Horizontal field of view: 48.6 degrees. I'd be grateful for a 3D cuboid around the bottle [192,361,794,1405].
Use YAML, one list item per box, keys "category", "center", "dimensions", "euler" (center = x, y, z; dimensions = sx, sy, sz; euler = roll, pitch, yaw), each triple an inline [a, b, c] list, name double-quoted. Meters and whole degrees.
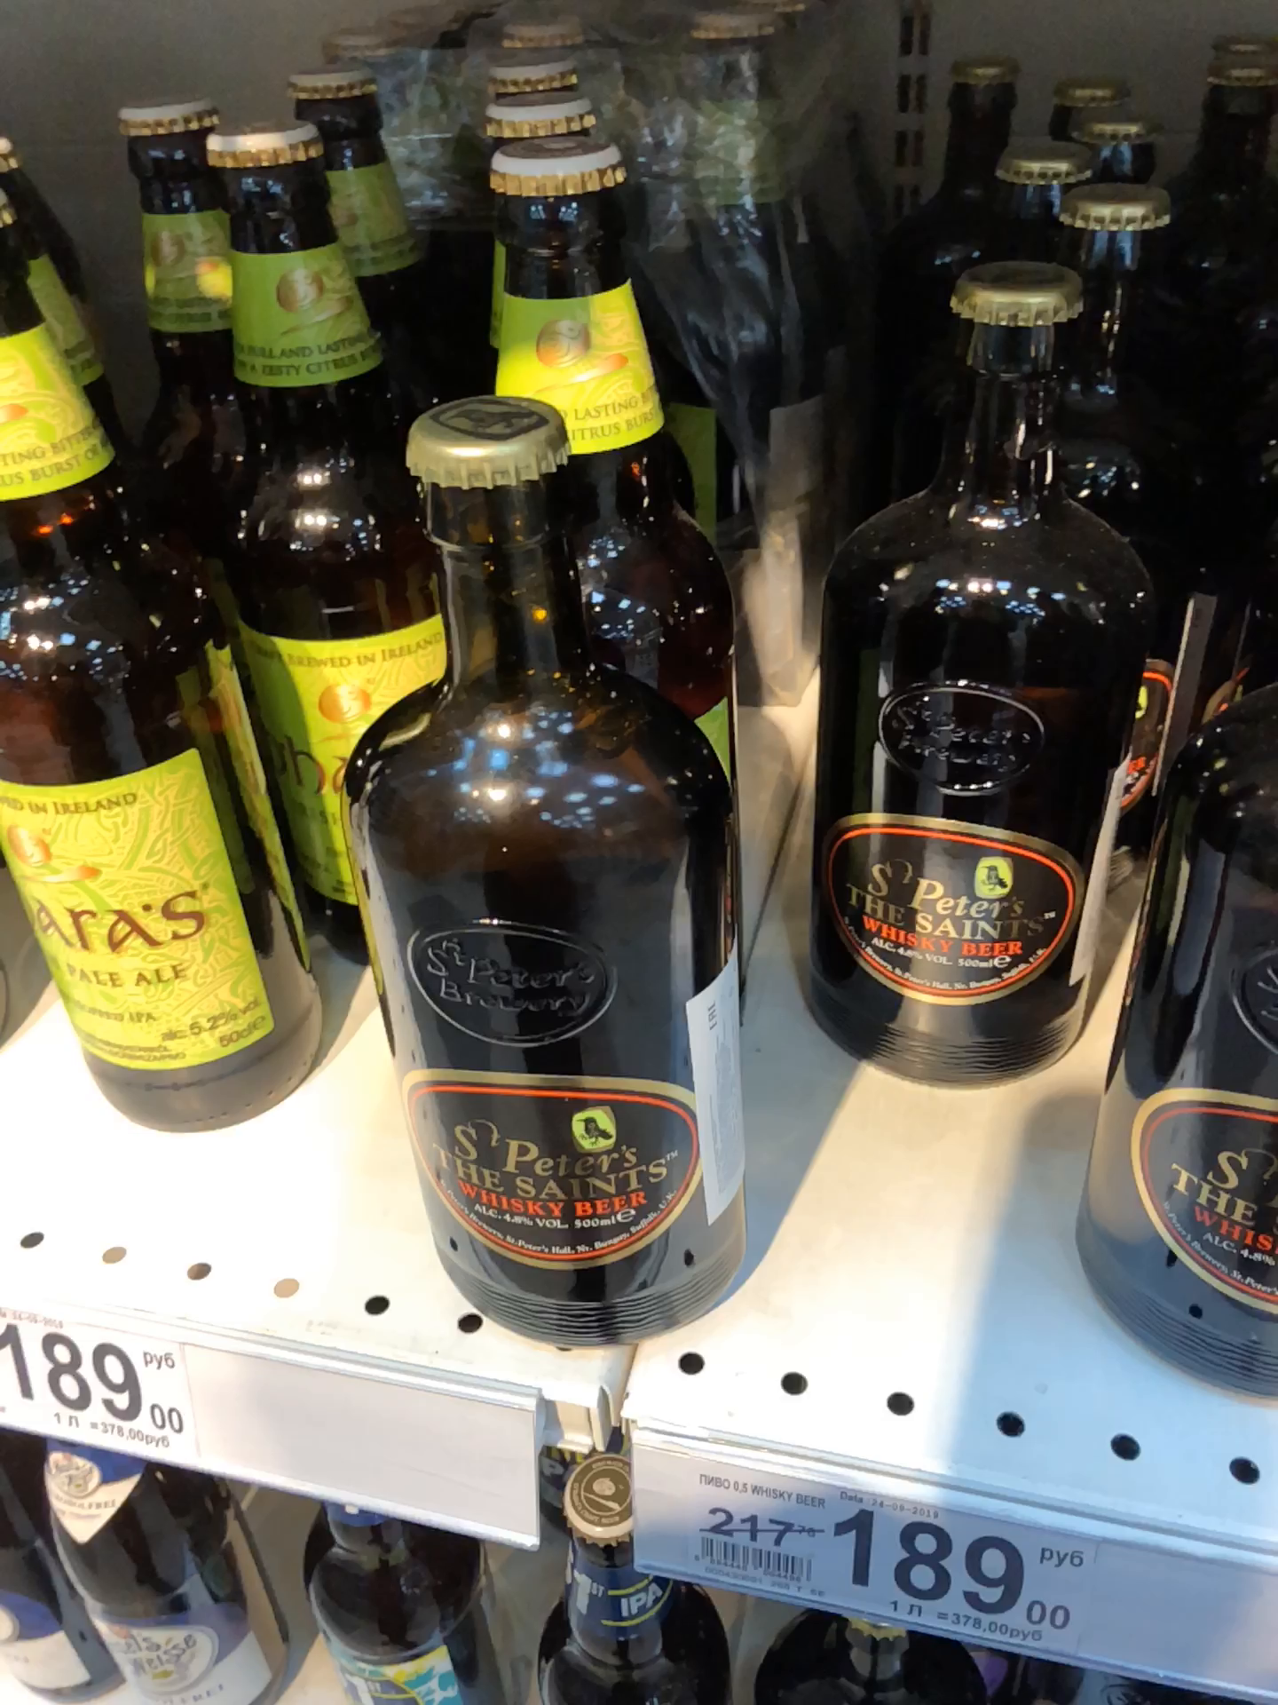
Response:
- category: "bottle"
  center: [-0.016, 0.018, 0.310]
  dimensions: [0.090, 0.229, 0.060]
  euler: [6, 36, 13]
